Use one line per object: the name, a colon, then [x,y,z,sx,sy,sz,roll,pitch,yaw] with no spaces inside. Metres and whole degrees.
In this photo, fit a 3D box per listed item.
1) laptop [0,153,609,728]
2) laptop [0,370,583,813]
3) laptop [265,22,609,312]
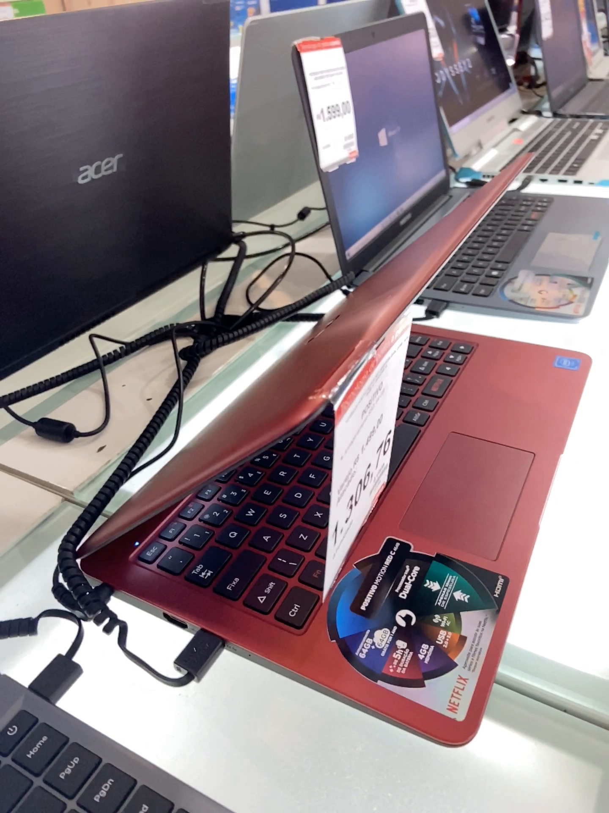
laptop: [0.046,-0.034,0.372,0.212,0.144,0.322,13,38,26]
laptop: [-0.135,0.103,0.096,0.285,0.159,0.235,9,24,16]
laptop: [0.200,-0.282,0.669,0.276,0.207,0.386,13,35,22]
